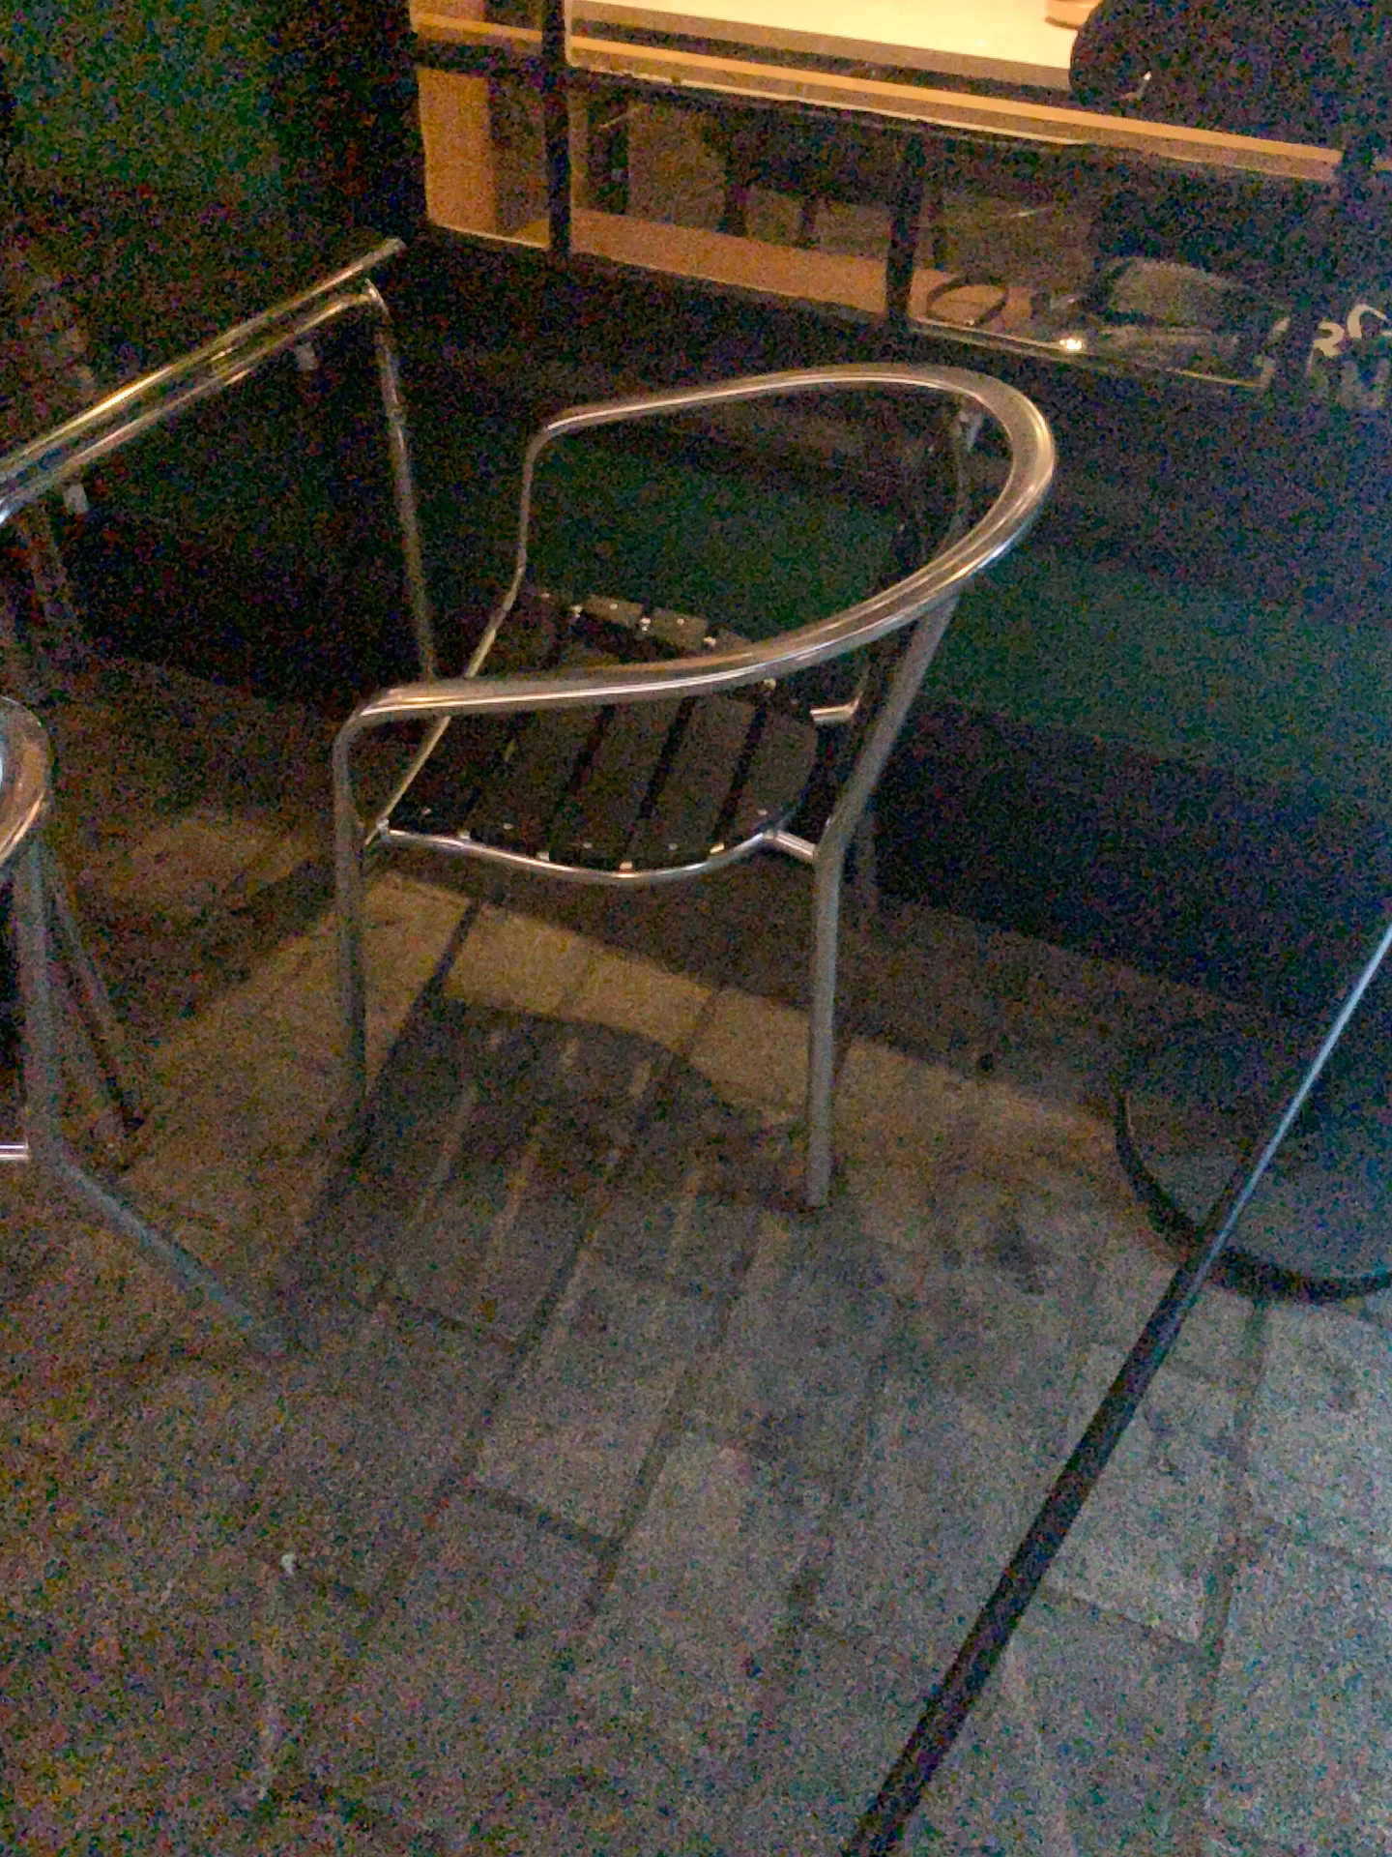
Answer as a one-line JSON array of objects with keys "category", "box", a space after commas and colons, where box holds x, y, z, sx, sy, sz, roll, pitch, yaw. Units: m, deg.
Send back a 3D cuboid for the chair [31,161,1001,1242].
[{"category": "chair", "box": [-0.095, -0.237, 1.465, 0.650, 0.782, 0.666, 9, 44, 7]}]
